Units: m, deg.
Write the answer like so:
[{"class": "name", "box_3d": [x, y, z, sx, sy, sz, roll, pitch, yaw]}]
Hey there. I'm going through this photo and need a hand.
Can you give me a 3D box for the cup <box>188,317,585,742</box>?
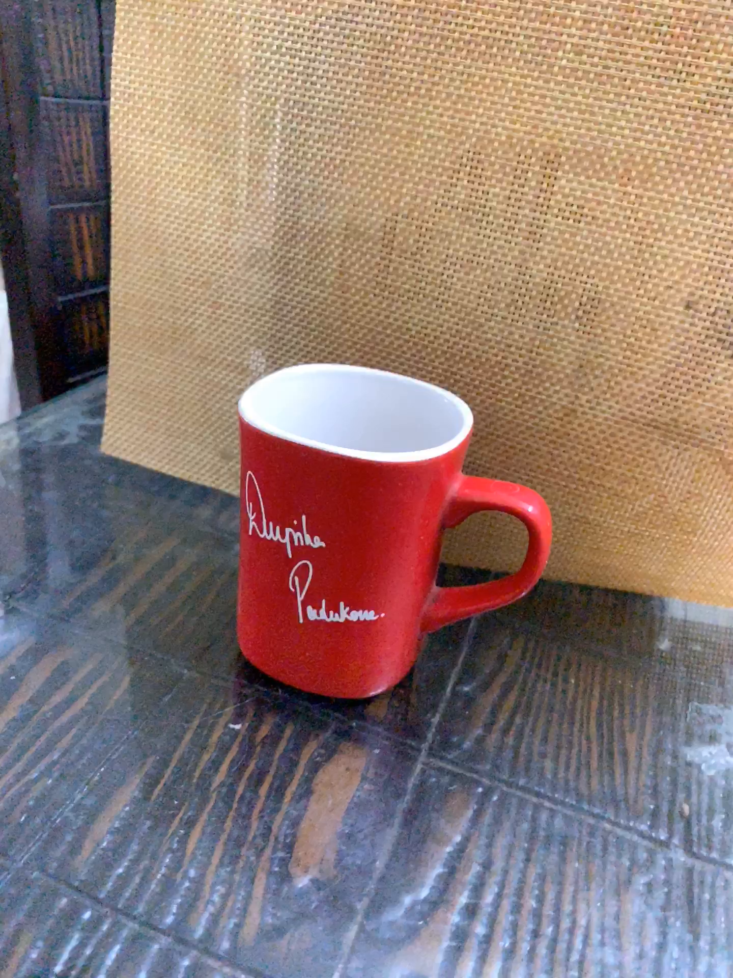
[{"class": "cup", "box_3d": [0.006, 0.006, 0.232, 0.096, 0.085, 0.070, 13, 28, 12]}]
